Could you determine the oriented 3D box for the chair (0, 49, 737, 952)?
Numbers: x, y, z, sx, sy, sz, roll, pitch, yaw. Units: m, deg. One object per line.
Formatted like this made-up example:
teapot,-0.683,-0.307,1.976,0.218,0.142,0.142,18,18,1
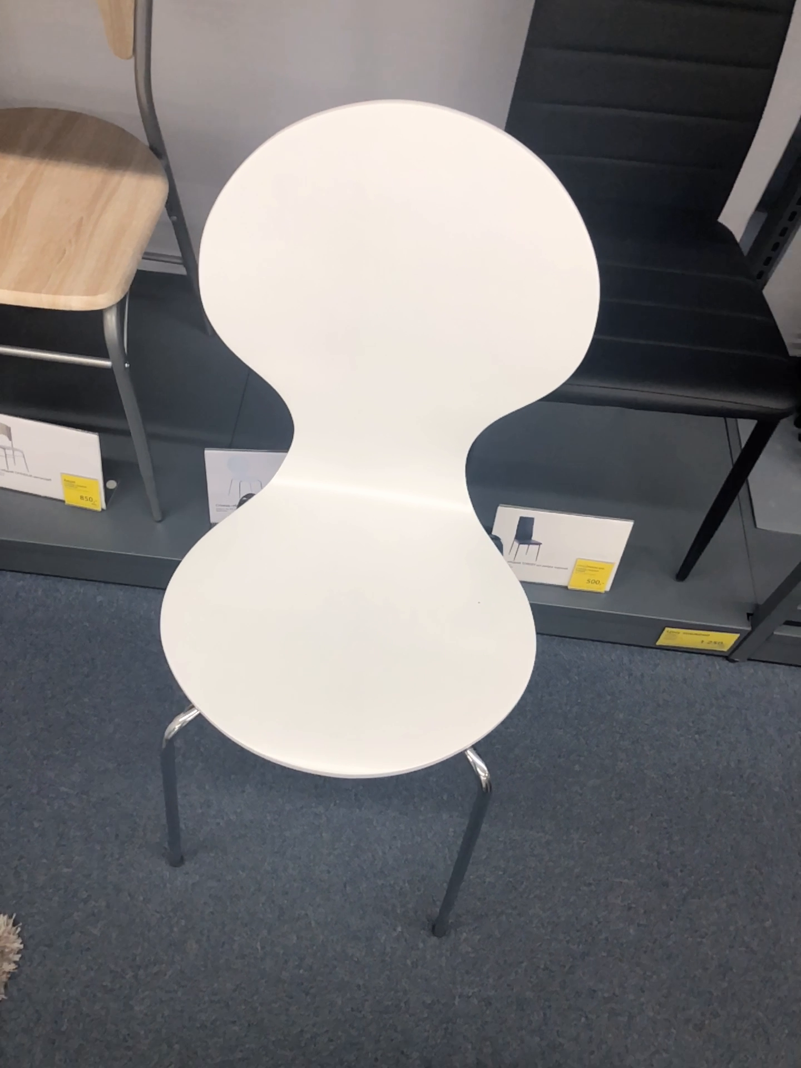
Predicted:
chair,-0.048,0.035,1.068,0.560,0.818,0.642,12,55,1
